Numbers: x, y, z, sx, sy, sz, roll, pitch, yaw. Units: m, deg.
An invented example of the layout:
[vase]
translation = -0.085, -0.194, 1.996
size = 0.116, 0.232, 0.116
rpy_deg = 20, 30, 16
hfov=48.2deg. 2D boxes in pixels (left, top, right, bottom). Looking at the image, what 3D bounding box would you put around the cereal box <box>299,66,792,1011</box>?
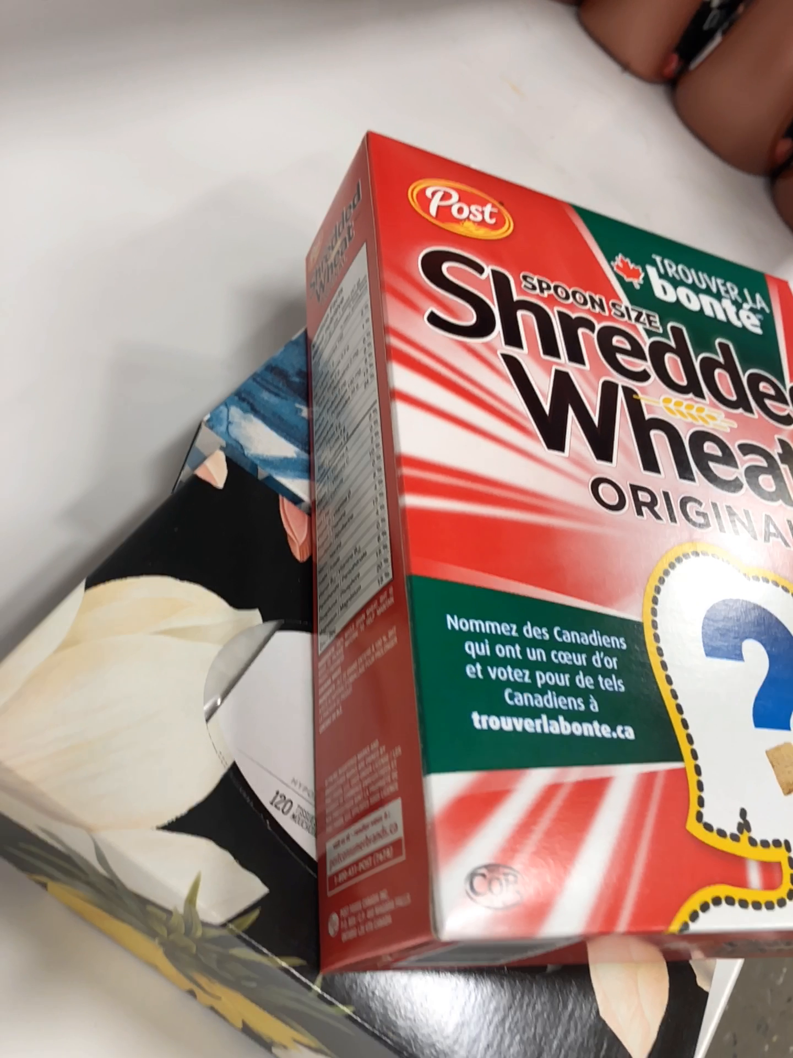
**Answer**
[cereal box]
translation = 0.088, -0.007, 0.293
size = 0.230, 0.060, 0.280
rpy_deg = 10, 54, -21
